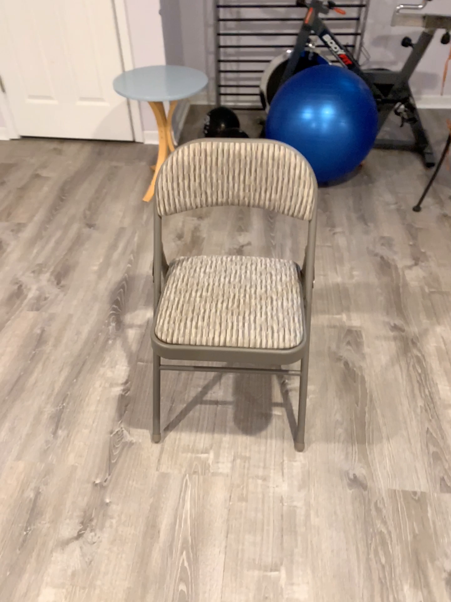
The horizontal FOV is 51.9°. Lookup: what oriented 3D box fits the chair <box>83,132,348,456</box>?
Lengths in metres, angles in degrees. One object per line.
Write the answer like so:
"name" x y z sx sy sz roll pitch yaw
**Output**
"chair" 0.001 -0.016 1.330 0.501 0.708 0.589 1 43 3
